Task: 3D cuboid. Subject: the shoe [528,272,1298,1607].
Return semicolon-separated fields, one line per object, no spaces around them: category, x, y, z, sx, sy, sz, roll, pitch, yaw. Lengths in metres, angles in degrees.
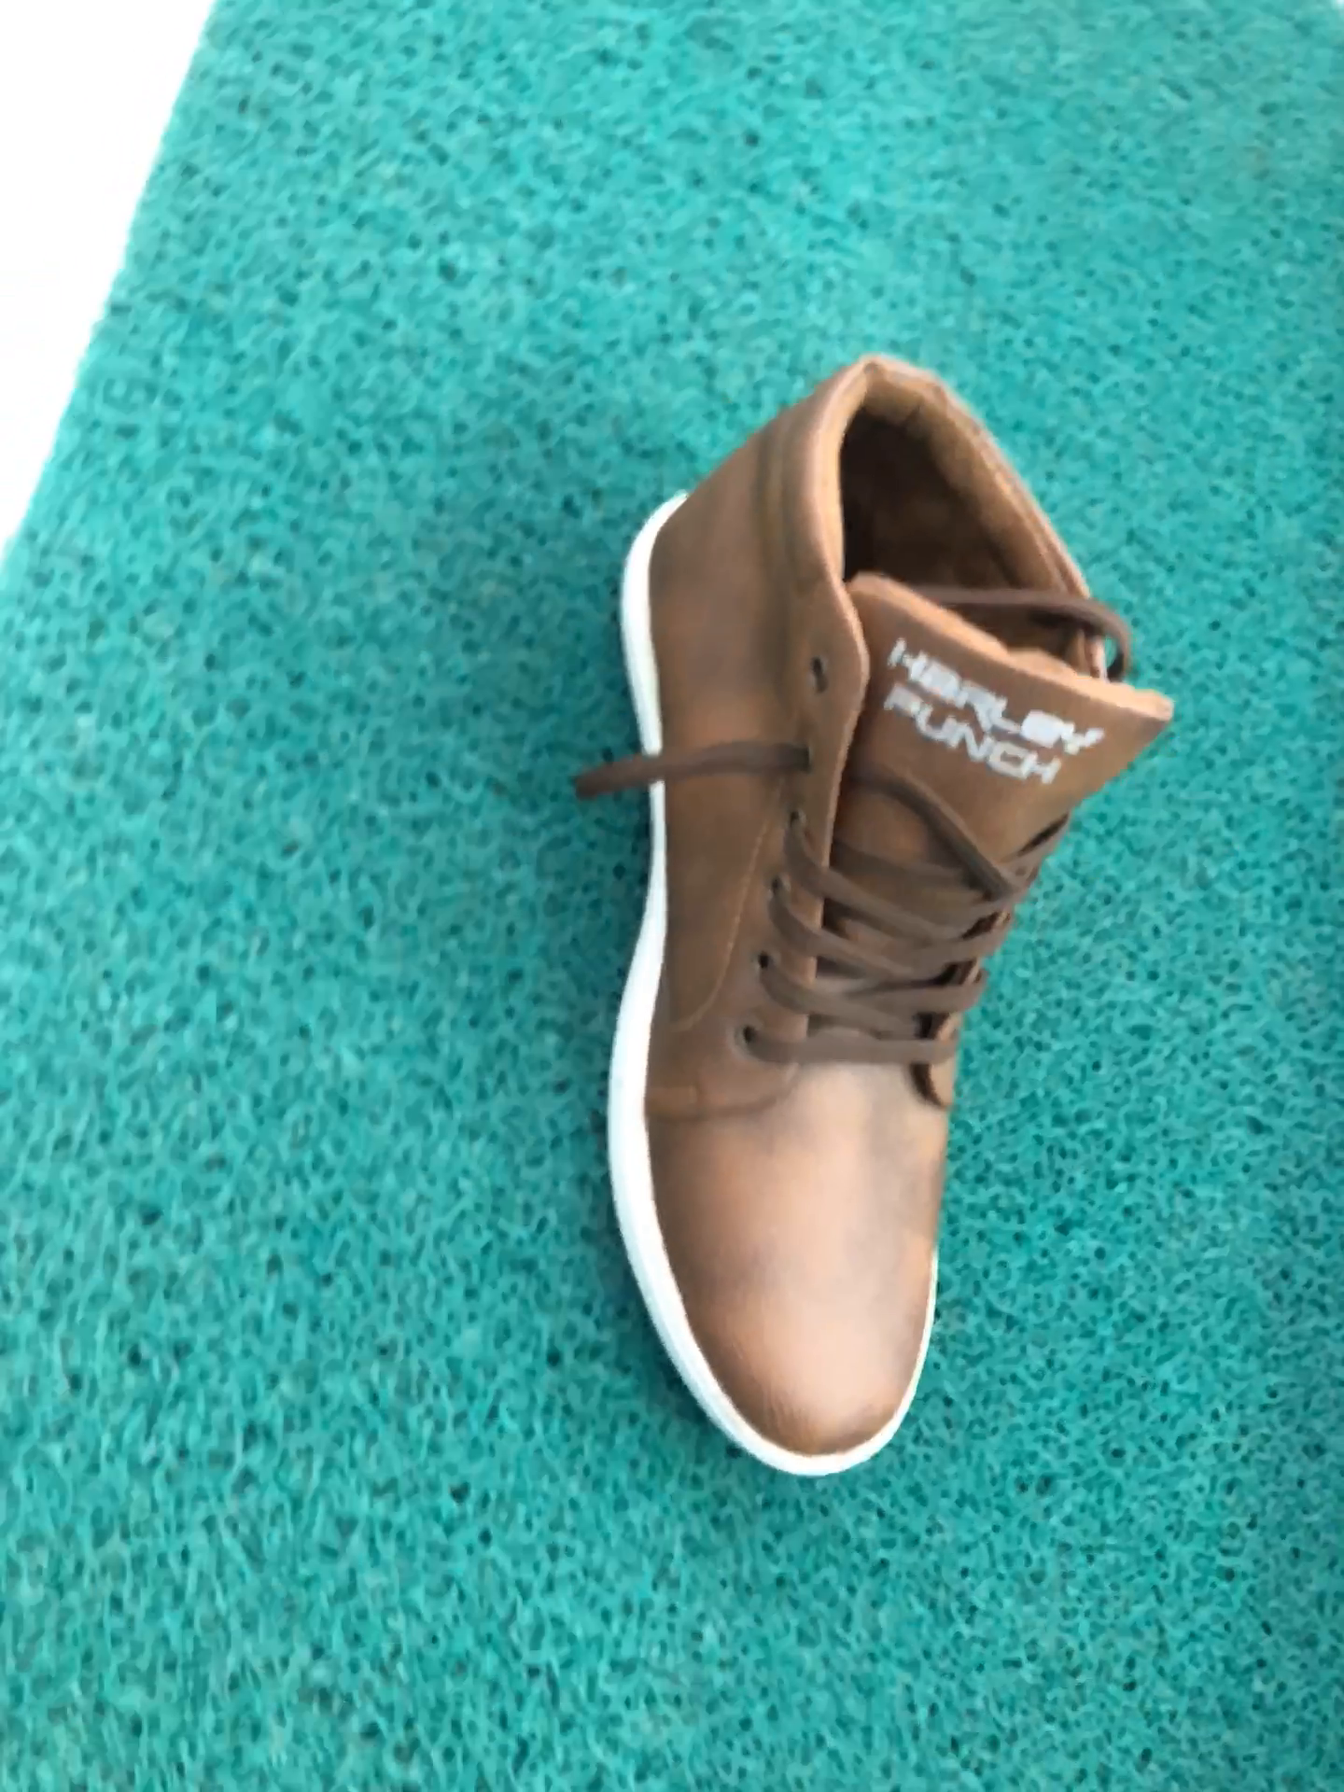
shoe;0.041;0.017;0.403;0.090;0.189;0.270;2;78;-25
